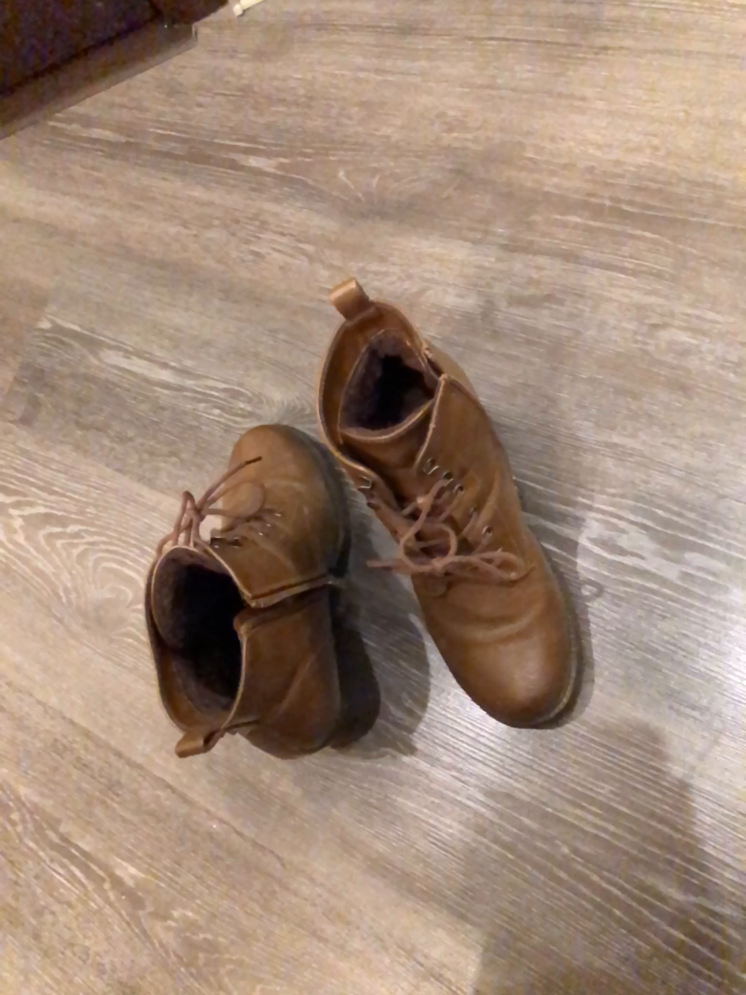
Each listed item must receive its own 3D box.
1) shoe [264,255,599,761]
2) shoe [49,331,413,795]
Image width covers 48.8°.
[{"bbox_3d":[0.040,0.020,0.460,0.090,0.190,0.220,-17,71,19],"label":"shoe"},{"bbox_3d":[-0.081,0.046,0.500,0.100,0.170,0.220,-23,69,16],"label":"shoe"}]
